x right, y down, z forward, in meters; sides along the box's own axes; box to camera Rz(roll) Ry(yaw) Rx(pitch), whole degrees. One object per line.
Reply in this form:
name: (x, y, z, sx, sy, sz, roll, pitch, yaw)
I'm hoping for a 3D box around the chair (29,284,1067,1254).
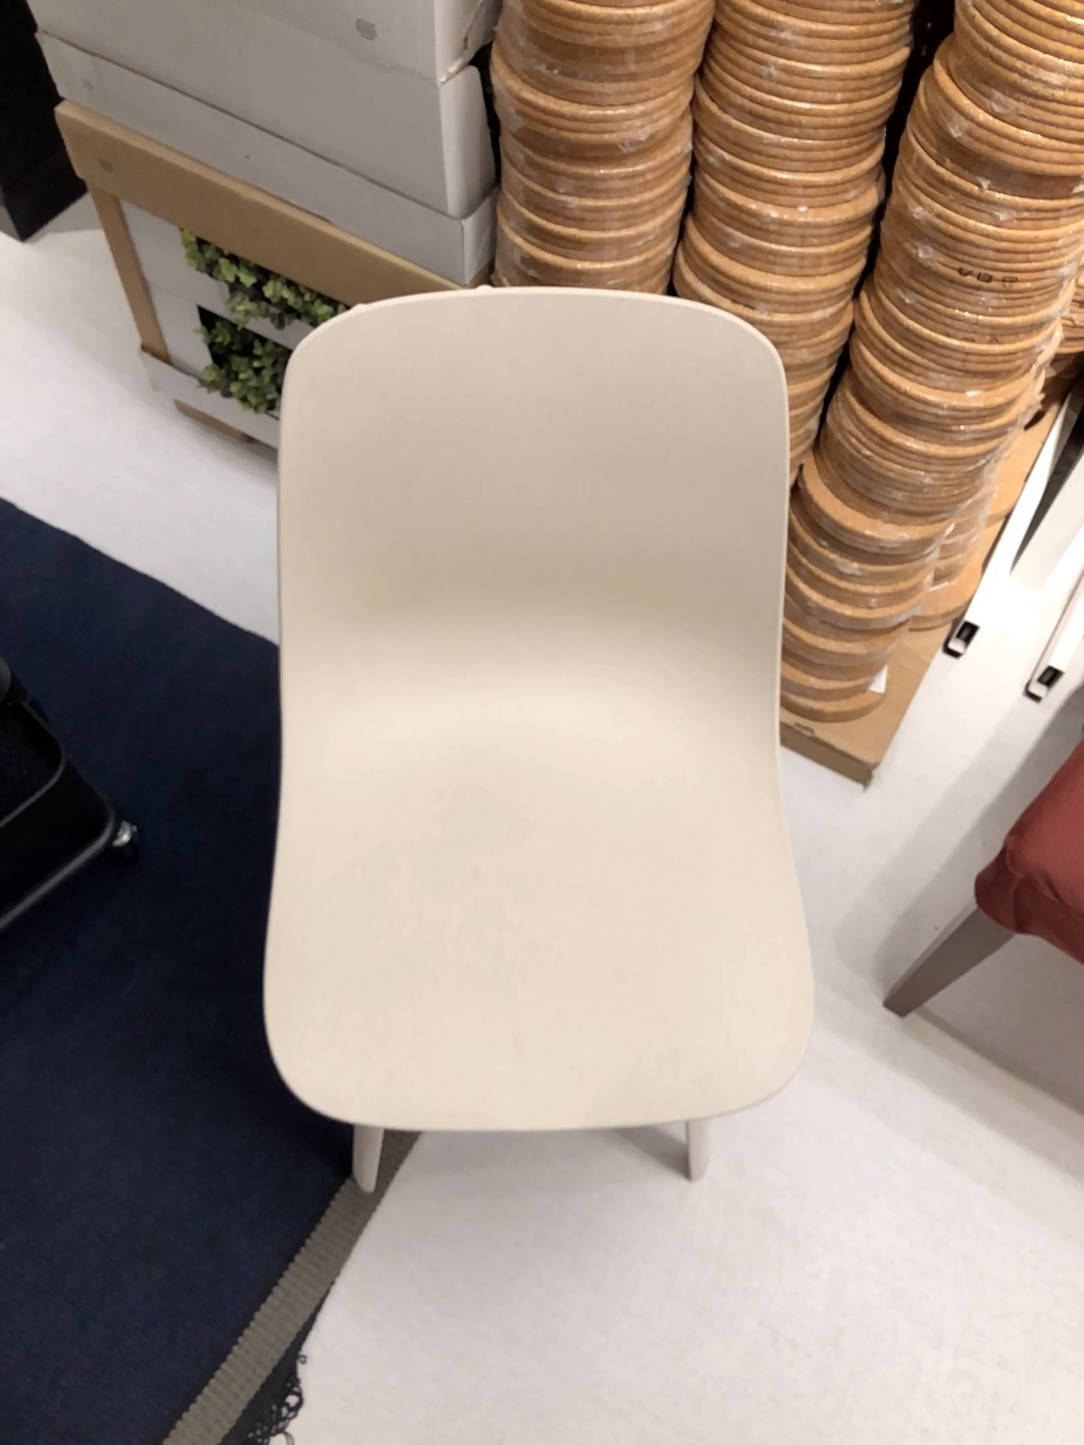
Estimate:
chair: (-0.006, 0.113, 0.944, 0.450, 0.698, 0.492, -2, 62, -1)
